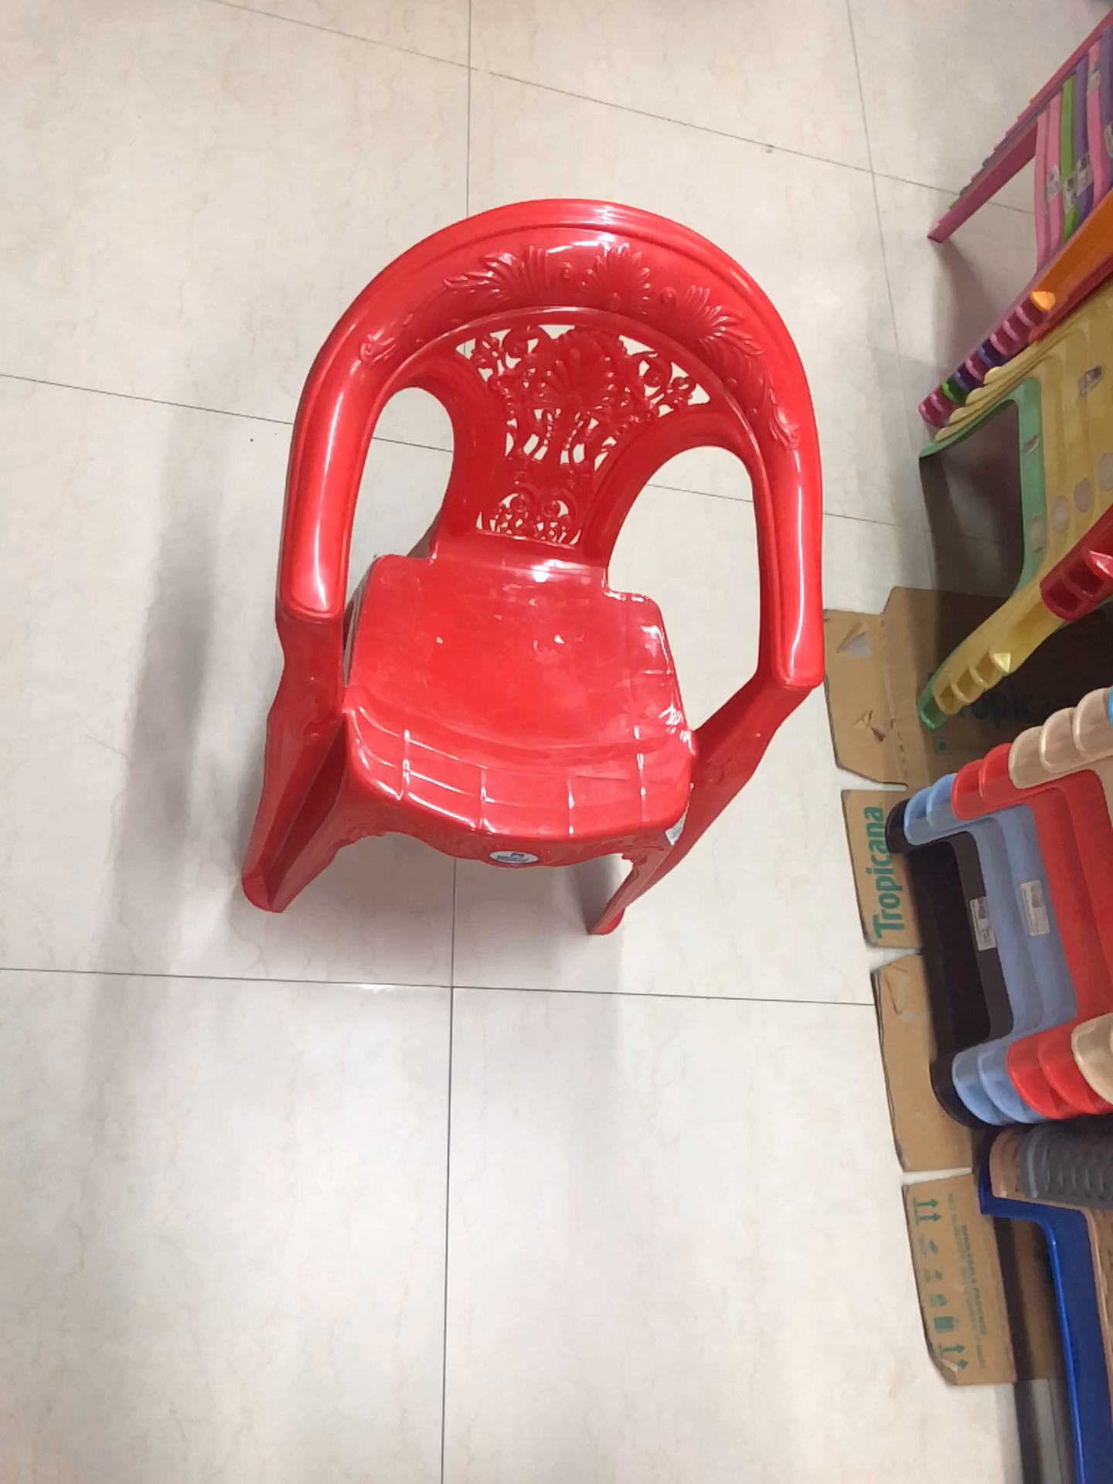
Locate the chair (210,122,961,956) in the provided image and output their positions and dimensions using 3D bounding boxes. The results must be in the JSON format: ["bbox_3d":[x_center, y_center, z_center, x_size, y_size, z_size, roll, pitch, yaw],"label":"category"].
[{"bbox_3d":[-0.033,-0.083,0.930,0.390,0.508,0.371,6,67,-16],"label":"chair"}]
